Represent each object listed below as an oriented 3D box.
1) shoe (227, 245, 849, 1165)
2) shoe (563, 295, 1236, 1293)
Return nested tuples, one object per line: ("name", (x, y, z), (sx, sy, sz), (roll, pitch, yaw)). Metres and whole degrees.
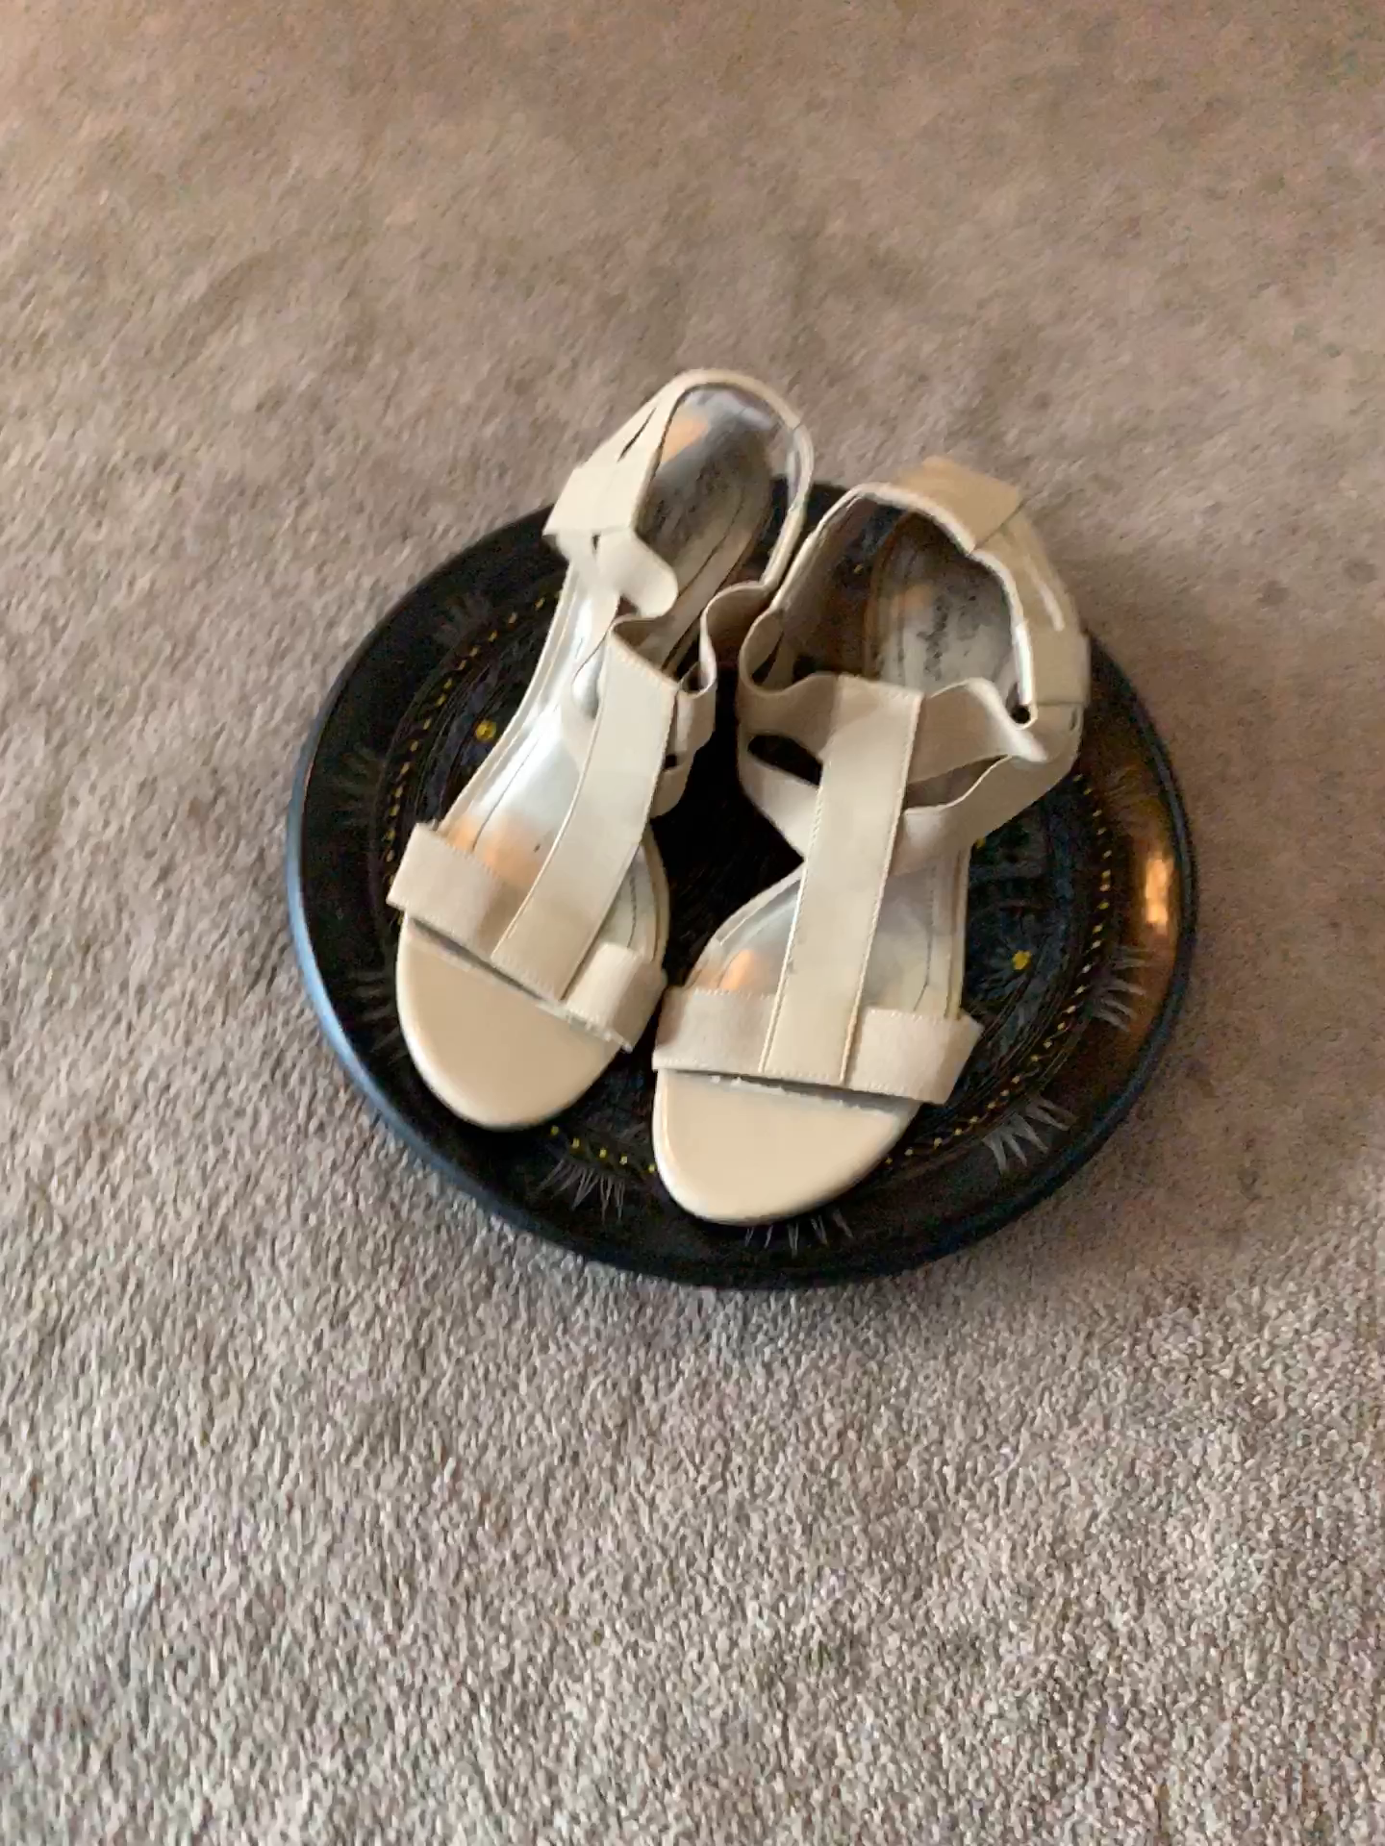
("shoe", (-0.030, -0.062, 0.396), (0.090, 0.099, 0.221), (14, 65, 4))
("shoe", (0.055, -0.036, 0.372), (0.100, 0.099, 0.221), (18, 65, 6))
